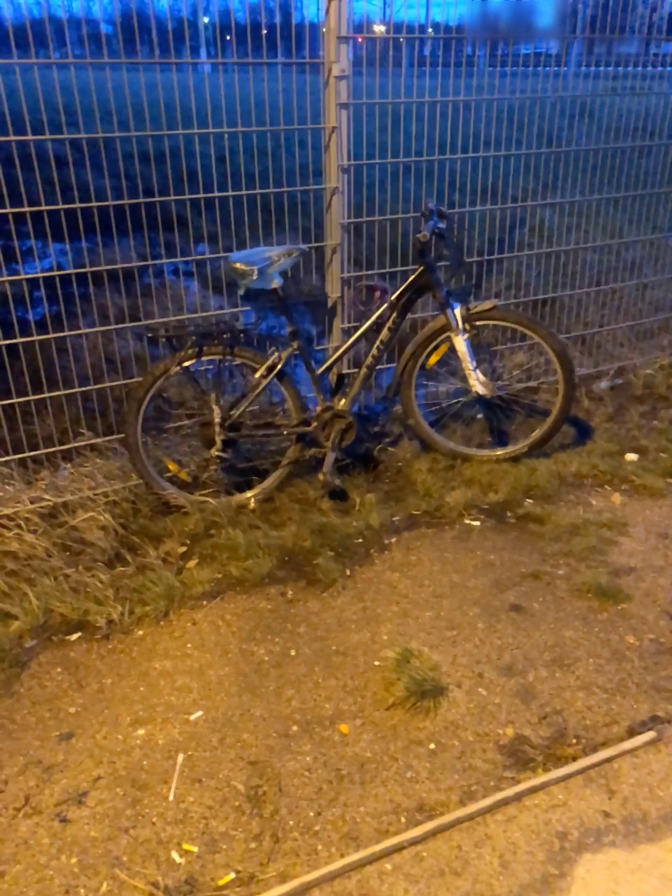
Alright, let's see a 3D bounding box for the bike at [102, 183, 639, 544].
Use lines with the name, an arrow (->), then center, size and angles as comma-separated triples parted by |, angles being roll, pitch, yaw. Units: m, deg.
bike -> 0.066, -0.327, 2.578 | 1.583, 0.947, 0.573 | -7, 28, -7
